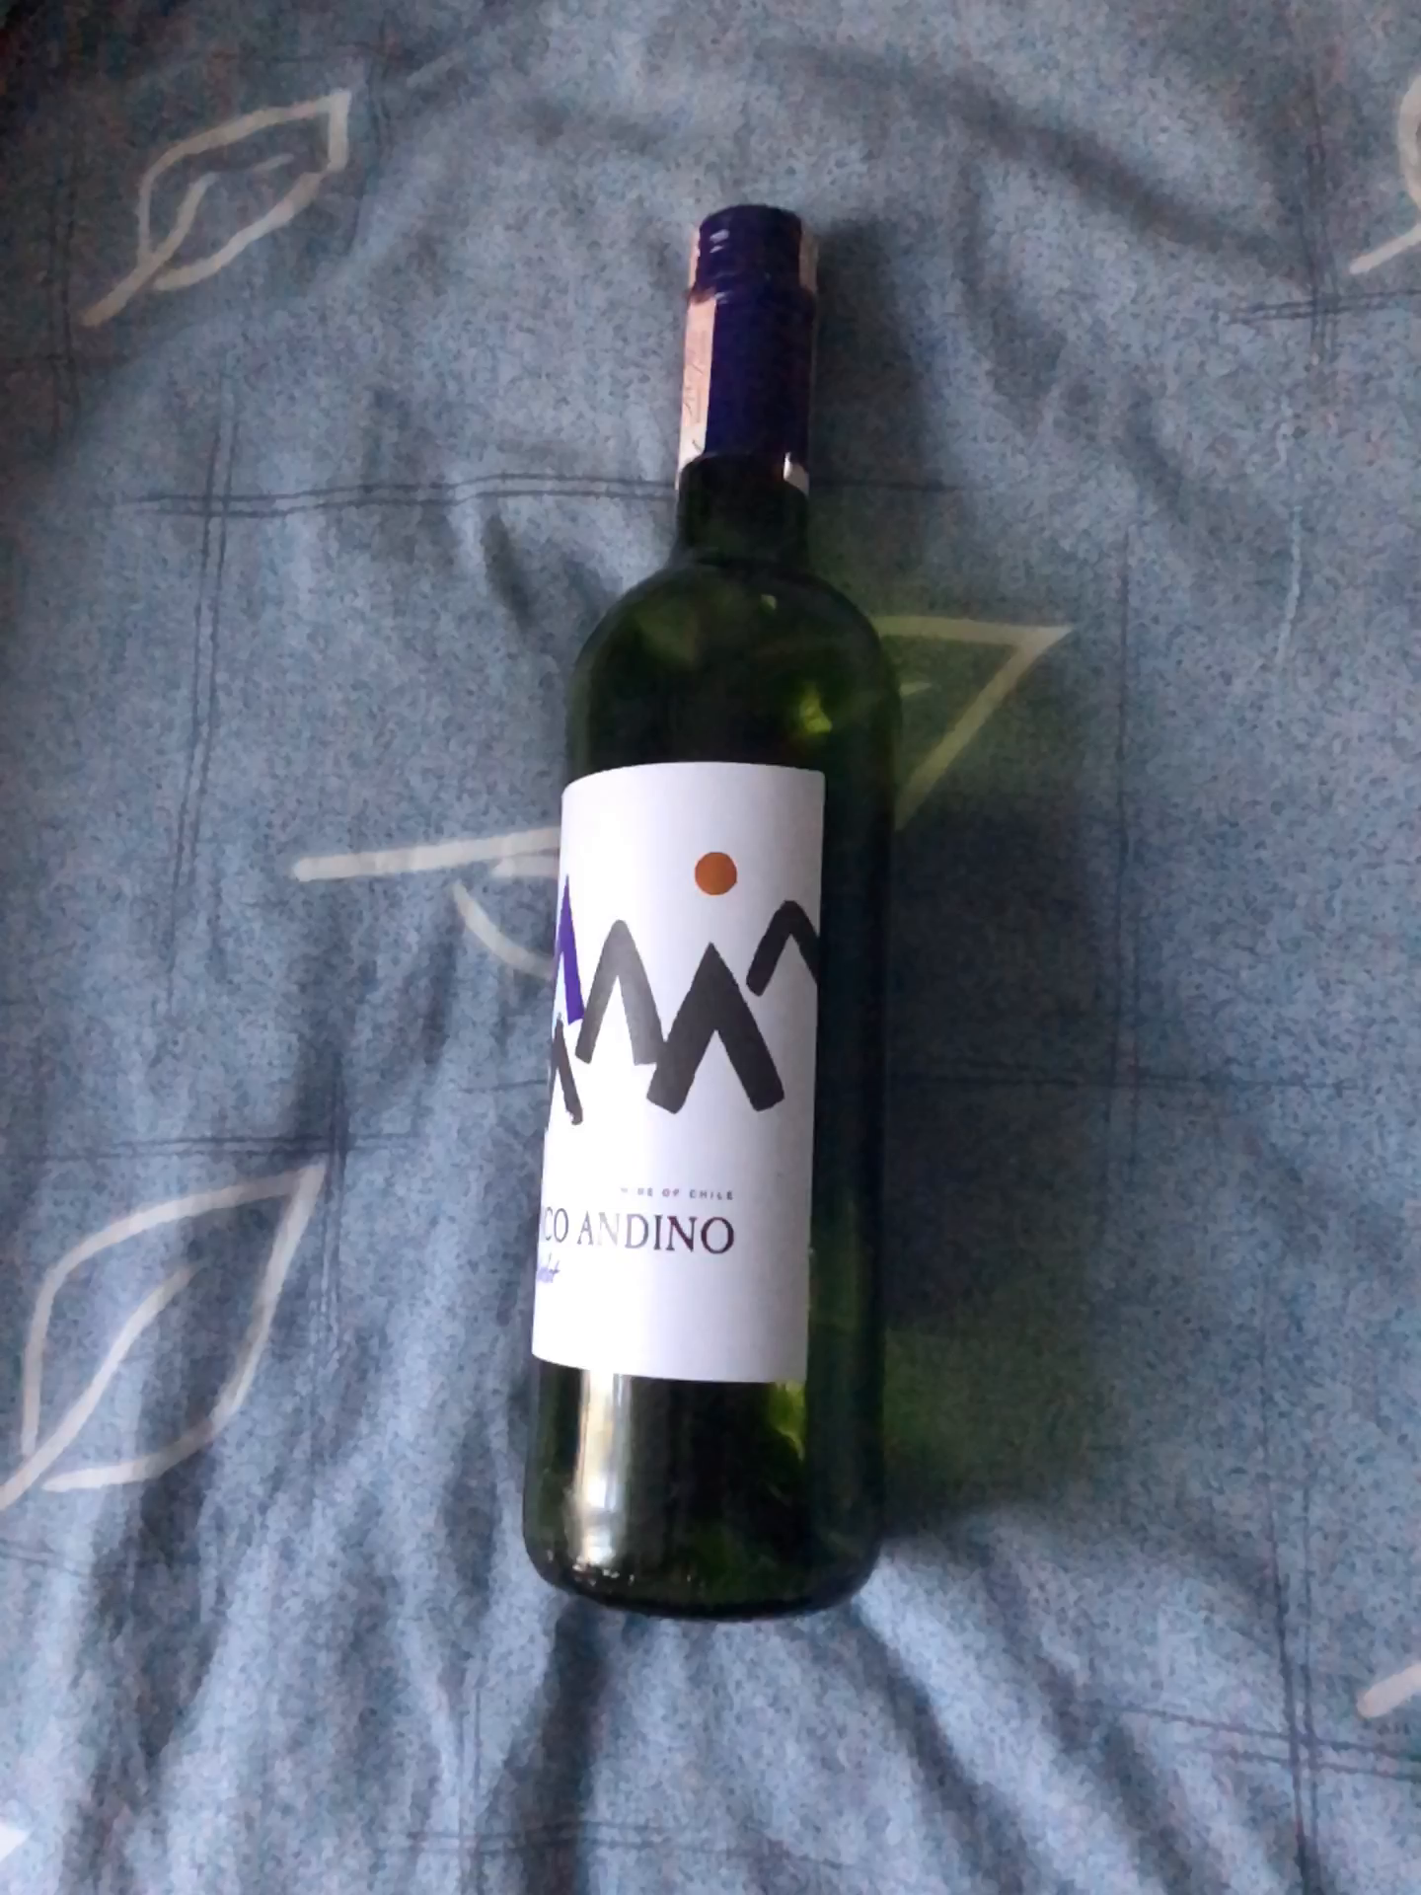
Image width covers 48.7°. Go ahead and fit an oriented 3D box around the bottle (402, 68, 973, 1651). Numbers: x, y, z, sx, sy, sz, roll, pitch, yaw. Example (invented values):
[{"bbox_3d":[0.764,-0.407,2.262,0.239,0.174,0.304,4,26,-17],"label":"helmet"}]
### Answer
[{"bbox_3d":[0.001,-0.019,0.337,0.080,0.080,0.290,-3,80,32],"label":"bottle"}]
